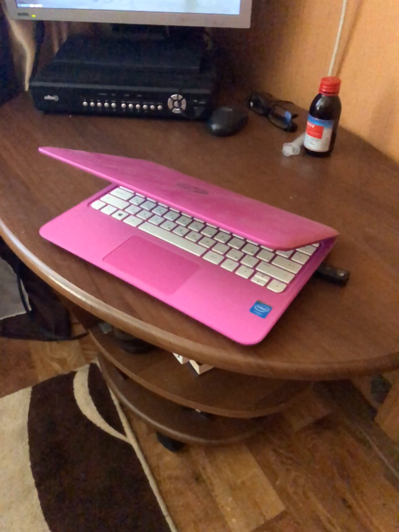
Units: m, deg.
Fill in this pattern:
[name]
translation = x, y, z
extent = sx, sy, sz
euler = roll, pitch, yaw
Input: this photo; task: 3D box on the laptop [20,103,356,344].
[laptop]
translation = -0.011, -0.067, 0.449
extent = 0.264, 0.081, 0.187
euler = 25, 47, 26
